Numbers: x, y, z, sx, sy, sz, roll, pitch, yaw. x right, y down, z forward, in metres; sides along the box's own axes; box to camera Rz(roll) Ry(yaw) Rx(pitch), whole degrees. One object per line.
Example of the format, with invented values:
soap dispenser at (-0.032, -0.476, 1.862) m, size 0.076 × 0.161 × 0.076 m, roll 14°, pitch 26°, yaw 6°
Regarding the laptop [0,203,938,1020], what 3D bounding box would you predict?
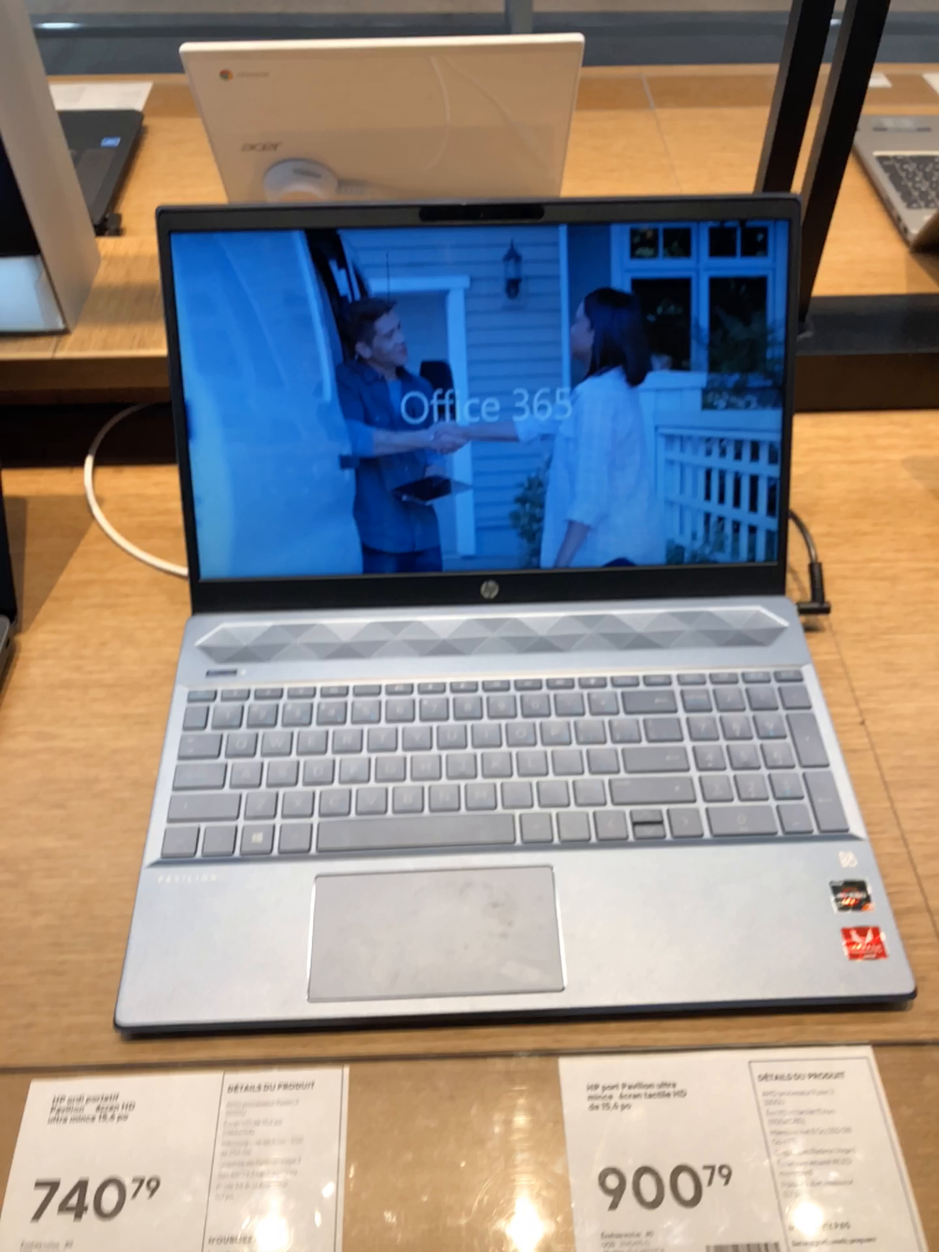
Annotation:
laptop at (0.011, -0.030, 0.503) m, size 0.338 × 0.185 × 0.356 m, roll -2°, pitch 48°, yaw -2°
